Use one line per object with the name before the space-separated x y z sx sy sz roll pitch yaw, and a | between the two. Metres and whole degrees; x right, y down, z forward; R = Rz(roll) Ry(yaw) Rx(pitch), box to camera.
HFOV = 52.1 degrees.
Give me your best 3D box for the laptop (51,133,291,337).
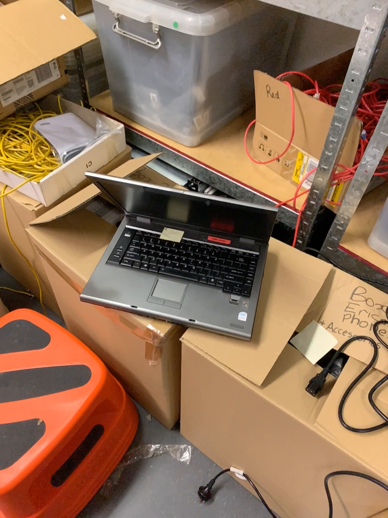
laptop | -0.029 -0.055 0.785 0.360 0.238 0.263 12 48 9
